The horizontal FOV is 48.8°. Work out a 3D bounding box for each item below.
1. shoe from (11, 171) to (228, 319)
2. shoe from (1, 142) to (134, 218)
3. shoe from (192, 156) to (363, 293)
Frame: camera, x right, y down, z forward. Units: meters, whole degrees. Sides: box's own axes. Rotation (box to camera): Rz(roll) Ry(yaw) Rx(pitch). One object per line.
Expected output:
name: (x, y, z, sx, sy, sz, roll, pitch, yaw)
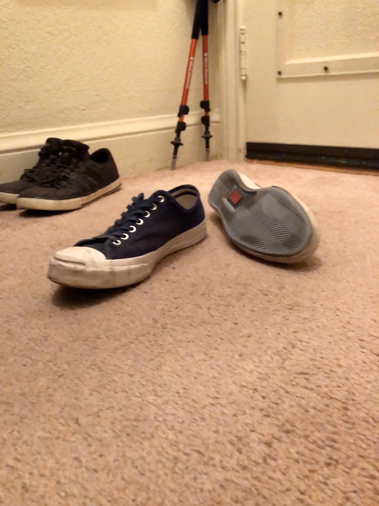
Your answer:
shoe: (-0.073, -0.032, 0.578, 0.116, 0.099, 0.287, 13, 27, 35)
shoe: (-0.238, -0.166, 0.886, 0.106, 0.099, 0.297, 7, 22, 20)
shoe: (0.113, -0.061, 0.655, 0.099, 0.104, 0.297, 19, 14, -24)
